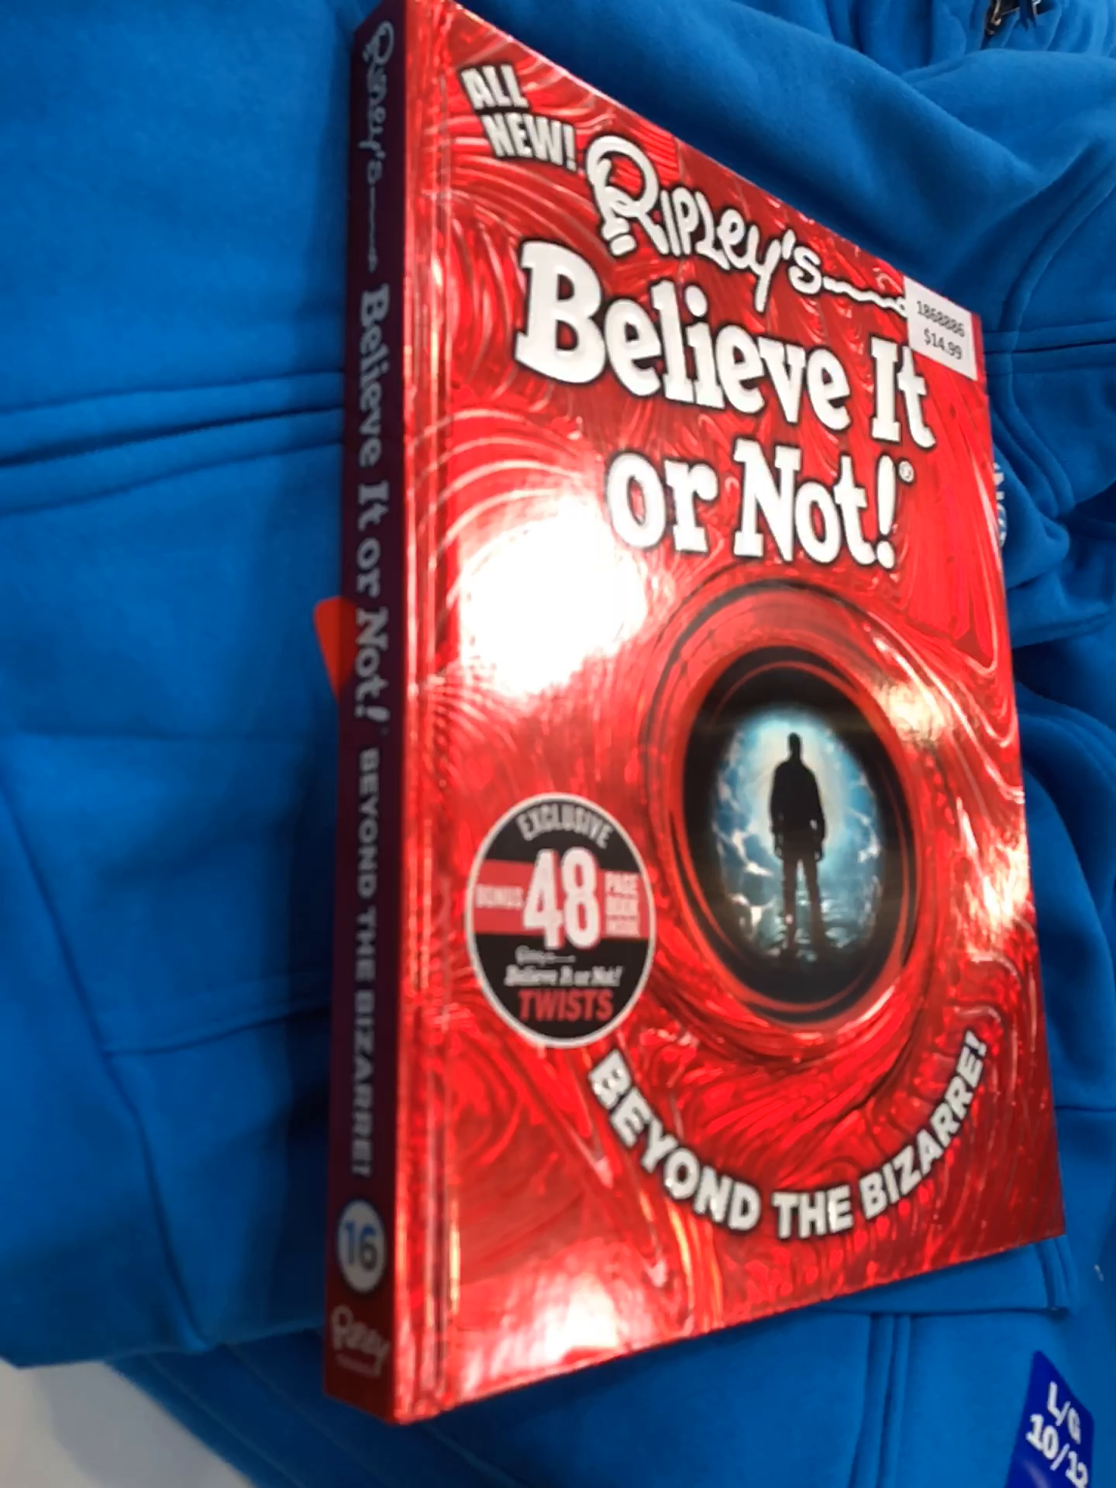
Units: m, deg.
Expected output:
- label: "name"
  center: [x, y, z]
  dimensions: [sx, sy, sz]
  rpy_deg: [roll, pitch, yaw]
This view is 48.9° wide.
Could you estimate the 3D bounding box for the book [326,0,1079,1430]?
- label: "book"
  center: [0.056, -0.010, 0.336]
  dimensions: [0.245, 0.027, 0.303]
  rpy_deg: [8, 76, -39]
